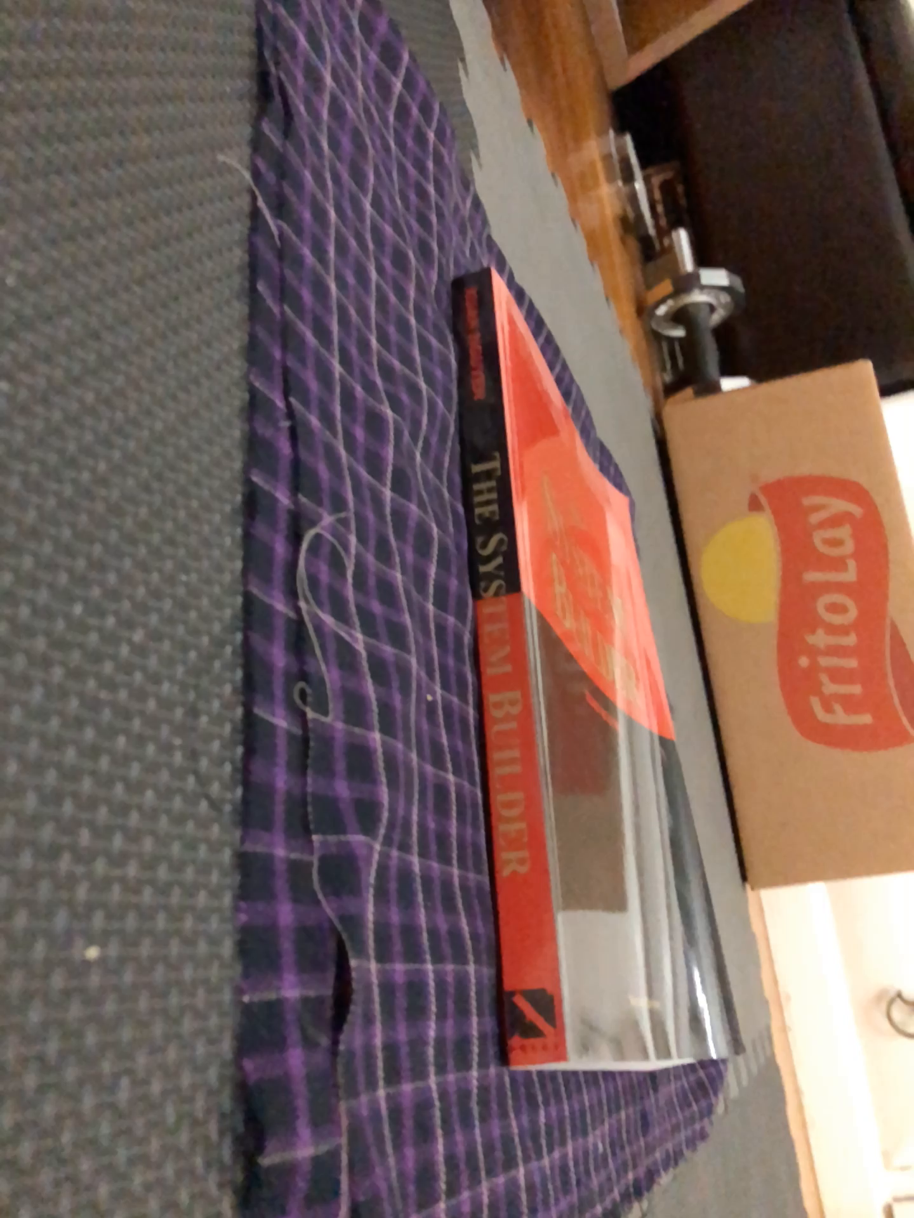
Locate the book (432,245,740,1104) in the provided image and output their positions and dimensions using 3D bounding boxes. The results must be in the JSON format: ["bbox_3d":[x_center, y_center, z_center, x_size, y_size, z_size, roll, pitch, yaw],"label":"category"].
[{"bbox_3d":[0.052,0.034,0.377,0.200,0.030,0.260,45,36,-58],"label":"book"}]
